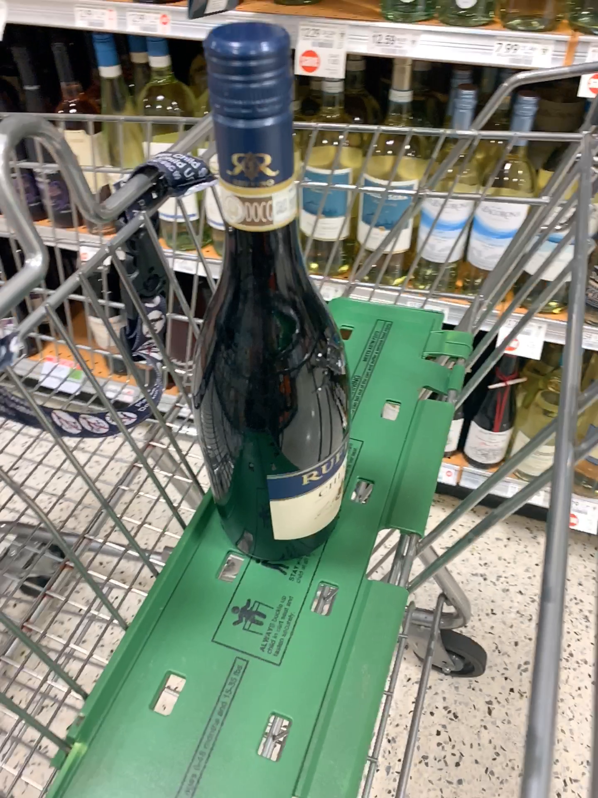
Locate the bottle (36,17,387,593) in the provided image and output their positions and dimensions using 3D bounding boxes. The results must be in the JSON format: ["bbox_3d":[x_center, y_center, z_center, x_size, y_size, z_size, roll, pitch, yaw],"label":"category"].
[{"bbox_3d":[-0.022,-0.022,0.304,0.090,0.267,0.091,-1,45,1],"label":"bottle"}]
